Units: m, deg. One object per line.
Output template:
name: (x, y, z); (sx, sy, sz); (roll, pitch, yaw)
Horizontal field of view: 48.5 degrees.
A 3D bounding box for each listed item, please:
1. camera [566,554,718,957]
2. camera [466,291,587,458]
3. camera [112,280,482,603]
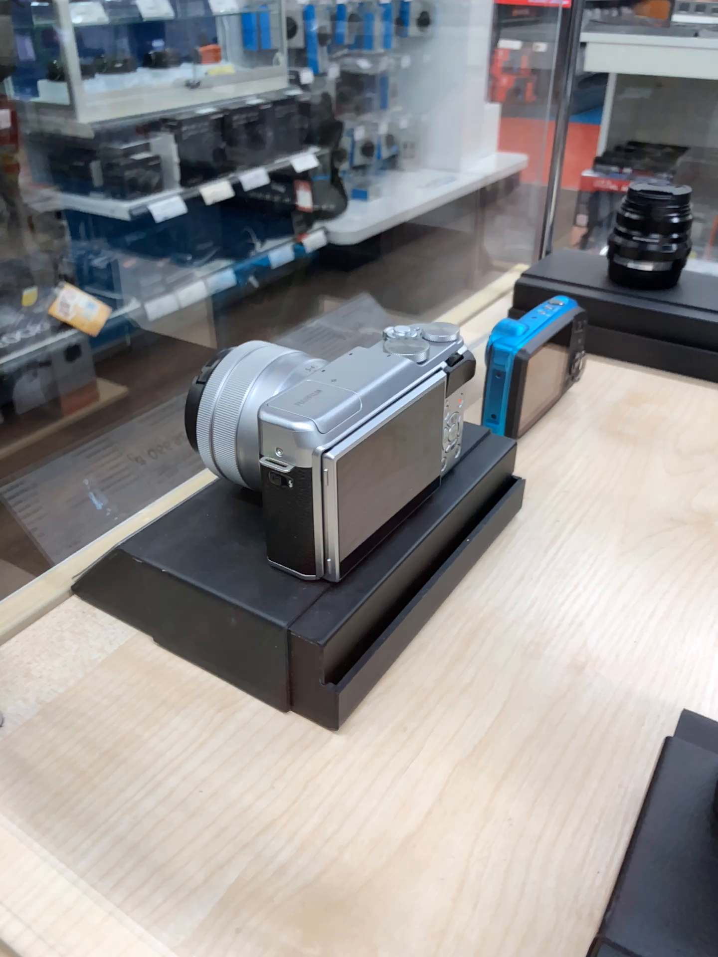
camera: (0.150, 0.106, 0.124); (0.187, 0.074, 0.130); (19, 36, 26)
camera: (0.103, -0.066, 0.482); (0.025, 0.064, 0.106); (19, 36, 27)
camera: (-0.020, -0.025, 0.333); (0.093, 0.070, 0.120); (19, 36, 27)
